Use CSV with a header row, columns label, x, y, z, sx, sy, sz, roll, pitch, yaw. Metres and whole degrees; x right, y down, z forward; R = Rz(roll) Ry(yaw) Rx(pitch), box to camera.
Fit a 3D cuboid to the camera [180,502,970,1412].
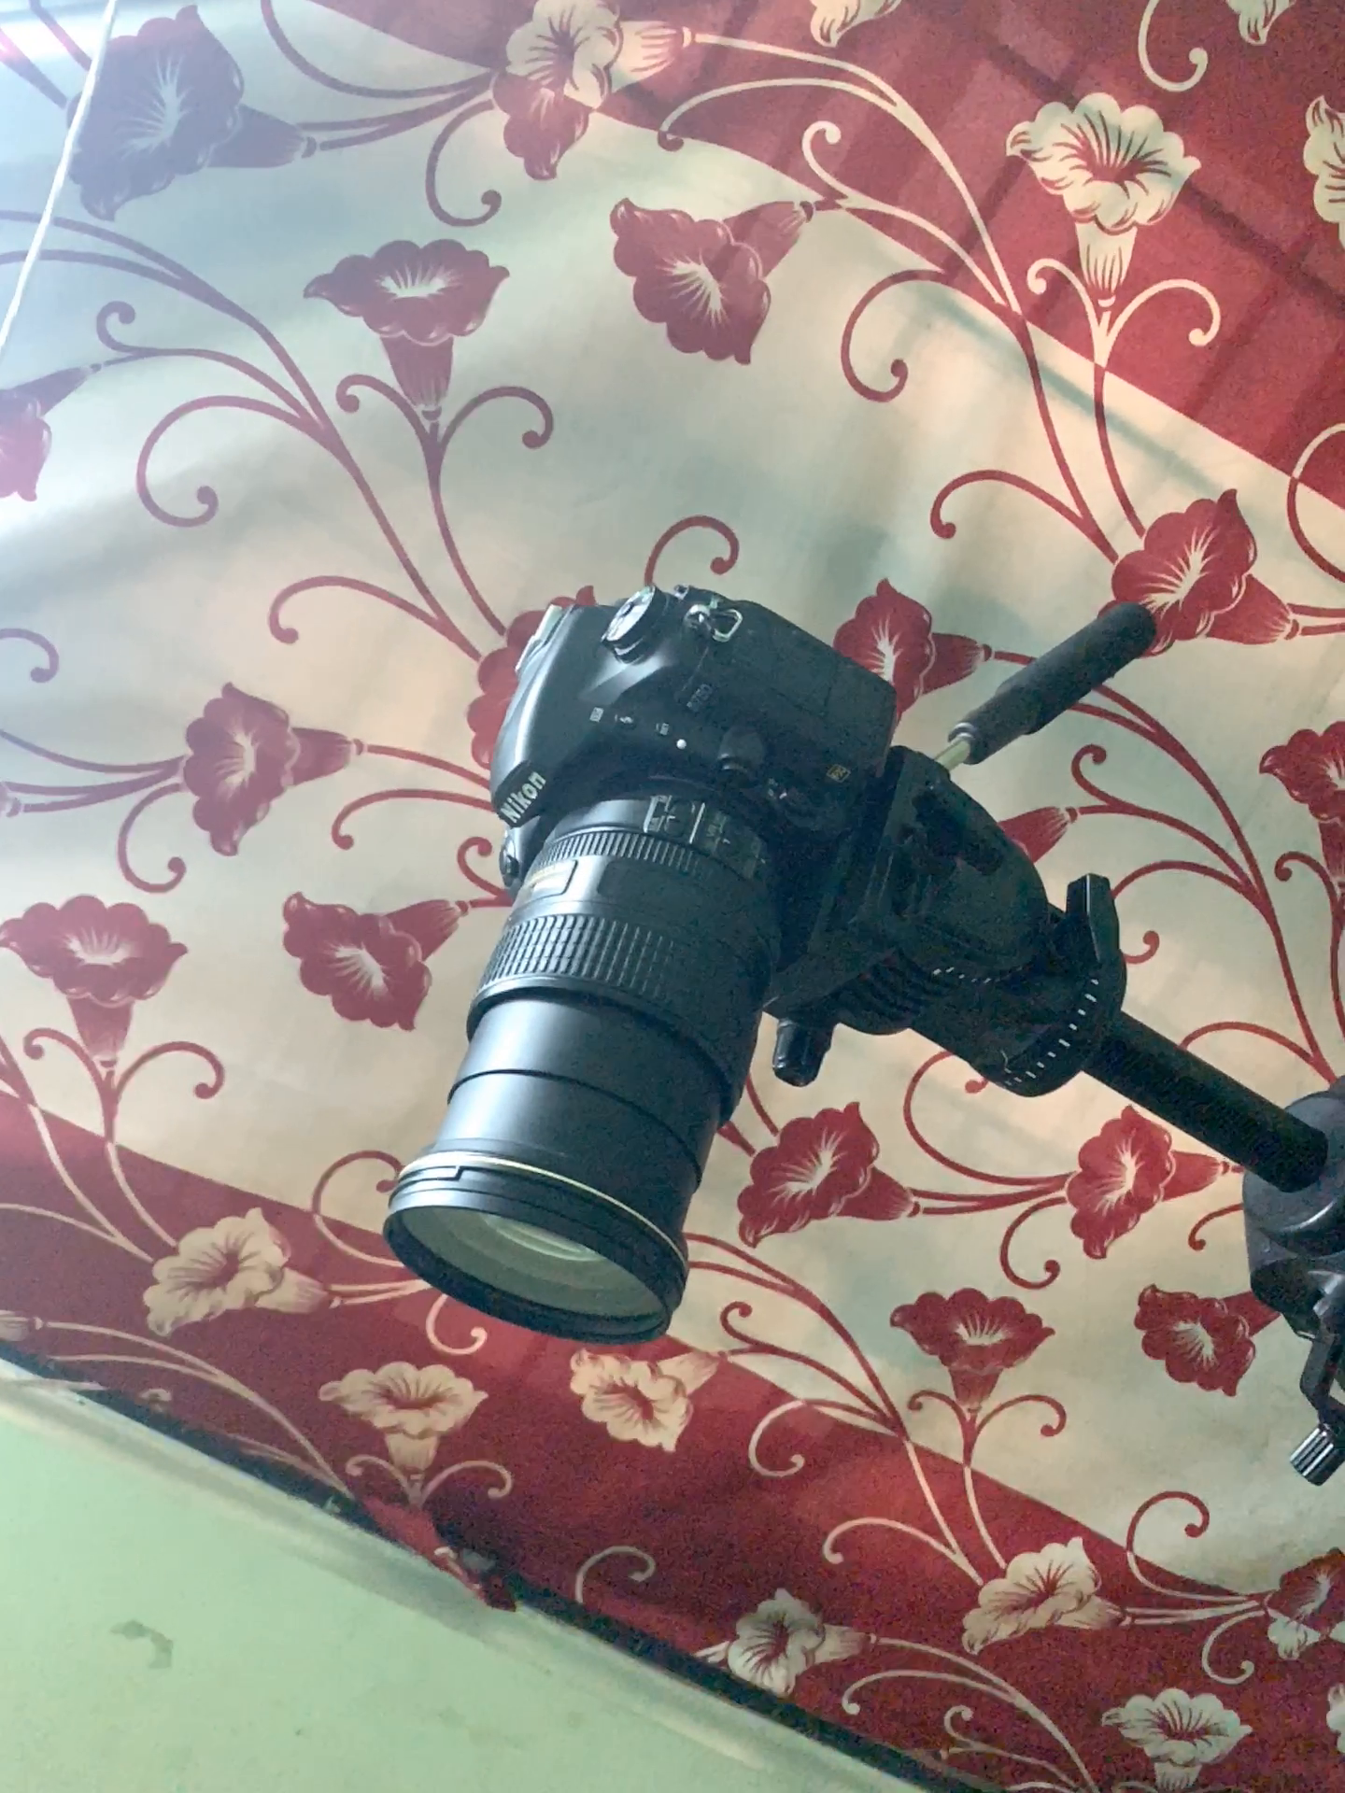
label,x,y,z,sx,sy,sz,roll,pitch,yaw
camera,-0.029,0.025,0.402,0.172,0.122,0.170,-47,16,50
